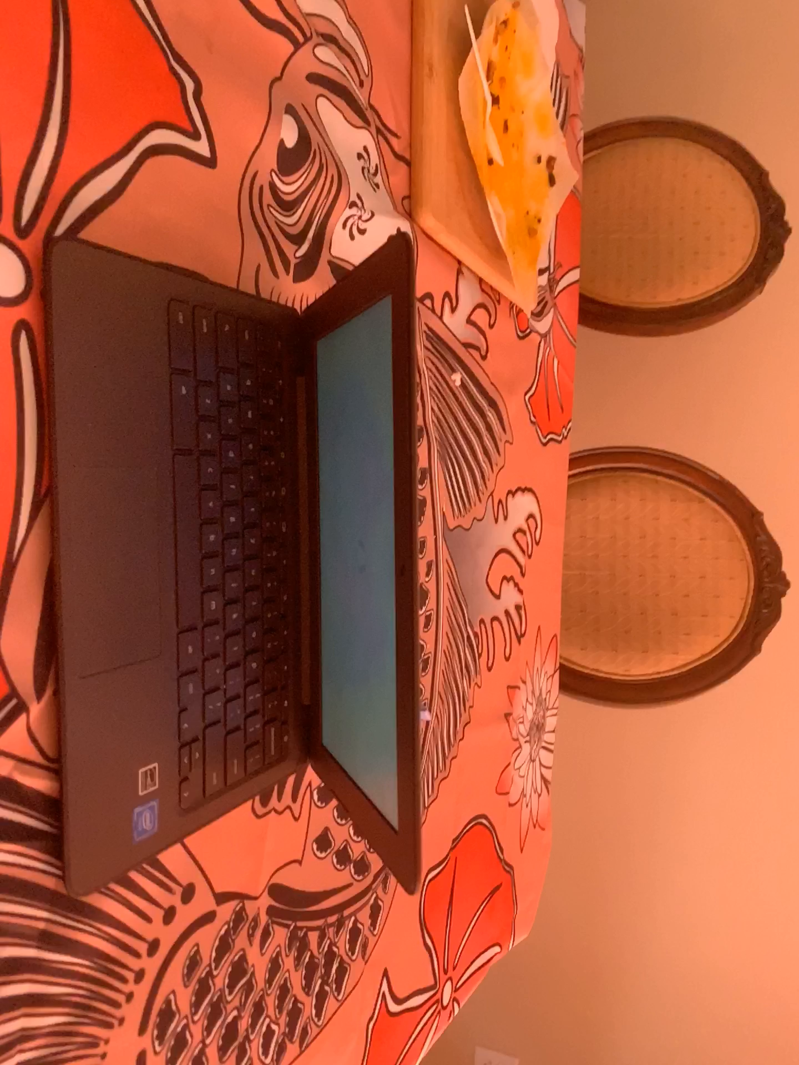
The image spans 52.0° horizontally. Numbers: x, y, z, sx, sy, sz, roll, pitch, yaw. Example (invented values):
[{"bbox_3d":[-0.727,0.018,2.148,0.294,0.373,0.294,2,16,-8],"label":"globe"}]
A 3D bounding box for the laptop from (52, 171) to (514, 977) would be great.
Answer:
[{"bbox_3d":[-0.039,0.014,0.428,0.212,0.144,0.299,-9,99,-65],"label":"laptop"}]
